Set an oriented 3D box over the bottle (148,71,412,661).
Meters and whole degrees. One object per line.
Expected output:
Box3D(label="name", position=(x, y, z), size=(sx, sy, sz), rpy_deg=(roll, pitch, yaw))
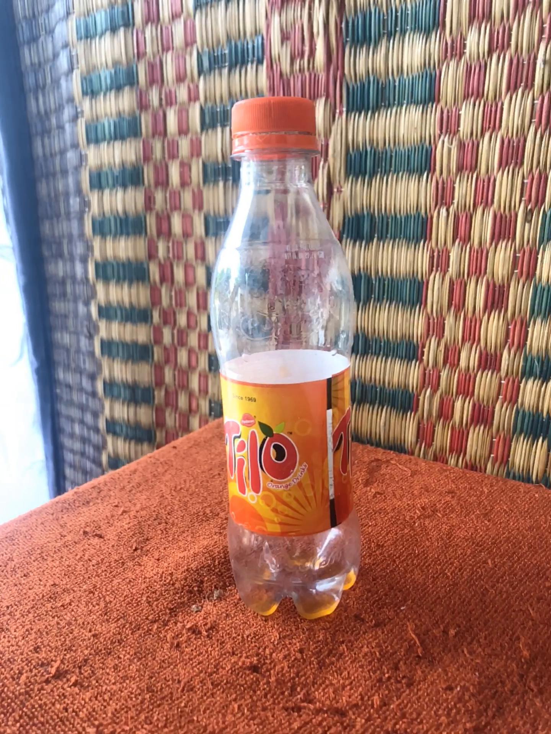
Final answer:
Box3D(label="bottle", position=(0.006, 0.001, 0.228), size=(0.070, 0.189, 0.050), rpy_deg=(12, 23, 40))
